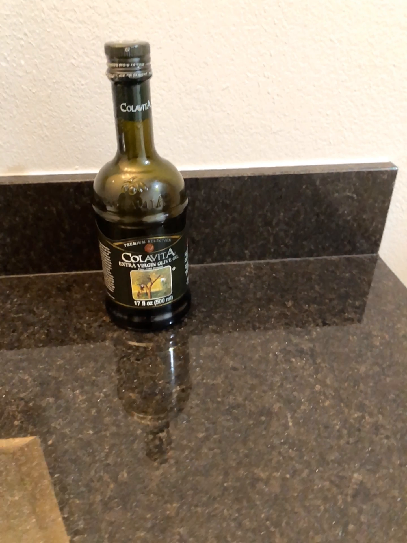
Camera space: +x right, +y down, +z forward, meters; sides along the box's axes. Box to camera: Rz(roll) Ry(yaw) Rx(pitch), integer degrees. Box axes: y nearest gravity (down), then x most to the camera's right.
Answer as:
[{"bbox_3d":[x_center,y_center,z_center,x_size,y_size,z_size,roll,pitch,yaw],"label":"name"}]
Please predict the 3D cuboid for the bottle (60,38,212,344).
[{"bbox_3d":[-0.048,-0.060,0.365,0.090,0.219,0.090,0,32,0],"label":"bottle"}]
